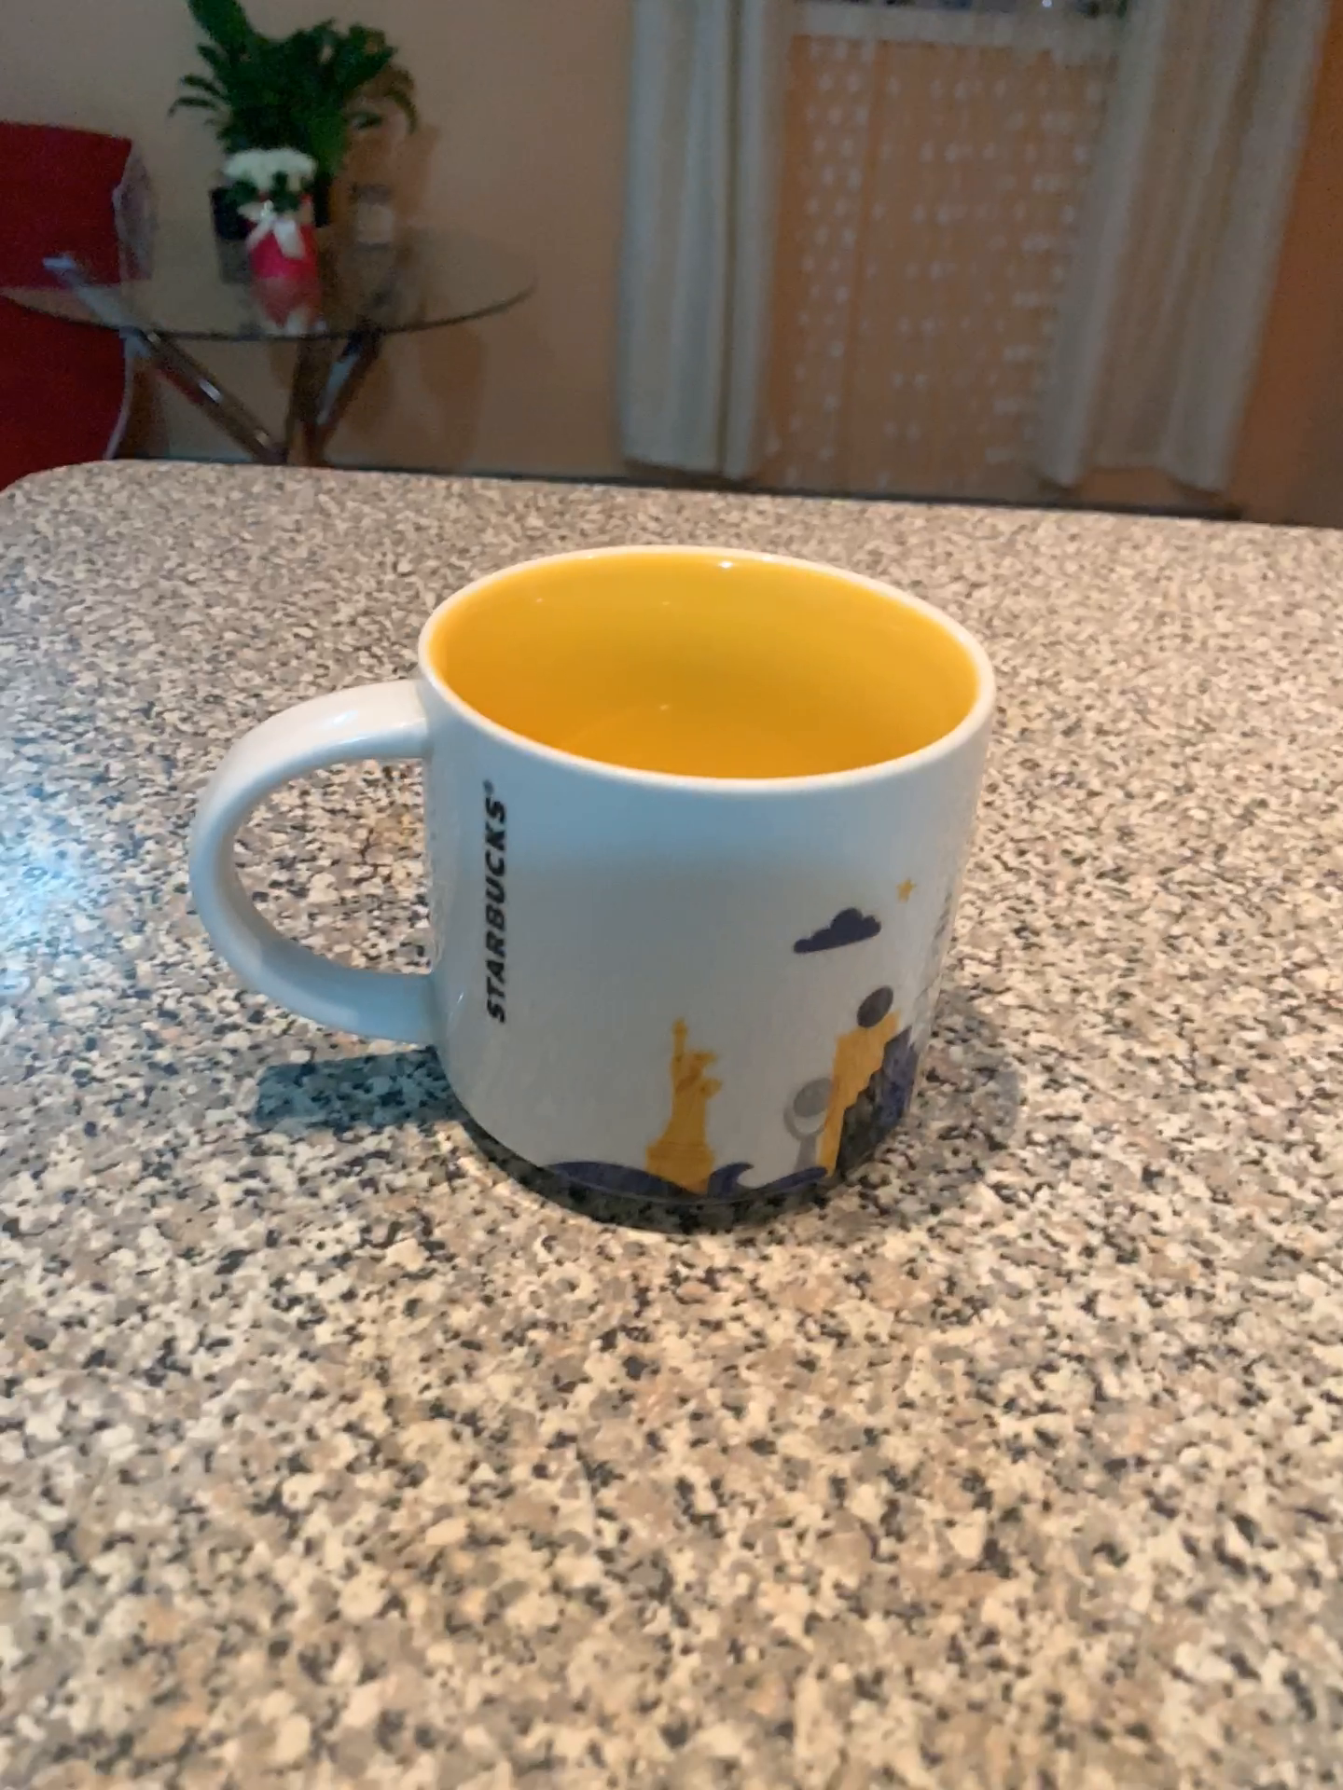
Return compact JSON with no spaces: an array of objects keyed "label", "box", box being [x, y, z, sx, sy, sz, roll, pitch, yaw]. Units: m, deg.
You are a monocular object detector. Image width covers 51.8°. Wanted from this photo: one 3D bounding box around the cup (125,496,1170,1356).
[{"label":"cup","box":[-0.013,-0.006,0.241,0.139,0.087,0.103,-9,36,-17]}]
